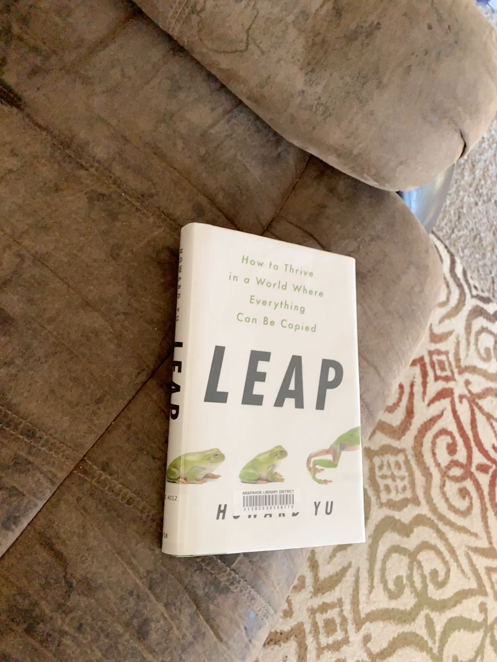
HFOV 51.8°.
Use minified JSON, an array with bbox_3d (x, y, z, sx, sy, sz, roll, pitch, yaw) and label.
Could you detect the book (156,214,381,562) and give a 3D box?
[{"bbox_3d":[0.016,0.040,0.395,0.161,0.040,0.235,6,74,-24],"label":"book"}]
